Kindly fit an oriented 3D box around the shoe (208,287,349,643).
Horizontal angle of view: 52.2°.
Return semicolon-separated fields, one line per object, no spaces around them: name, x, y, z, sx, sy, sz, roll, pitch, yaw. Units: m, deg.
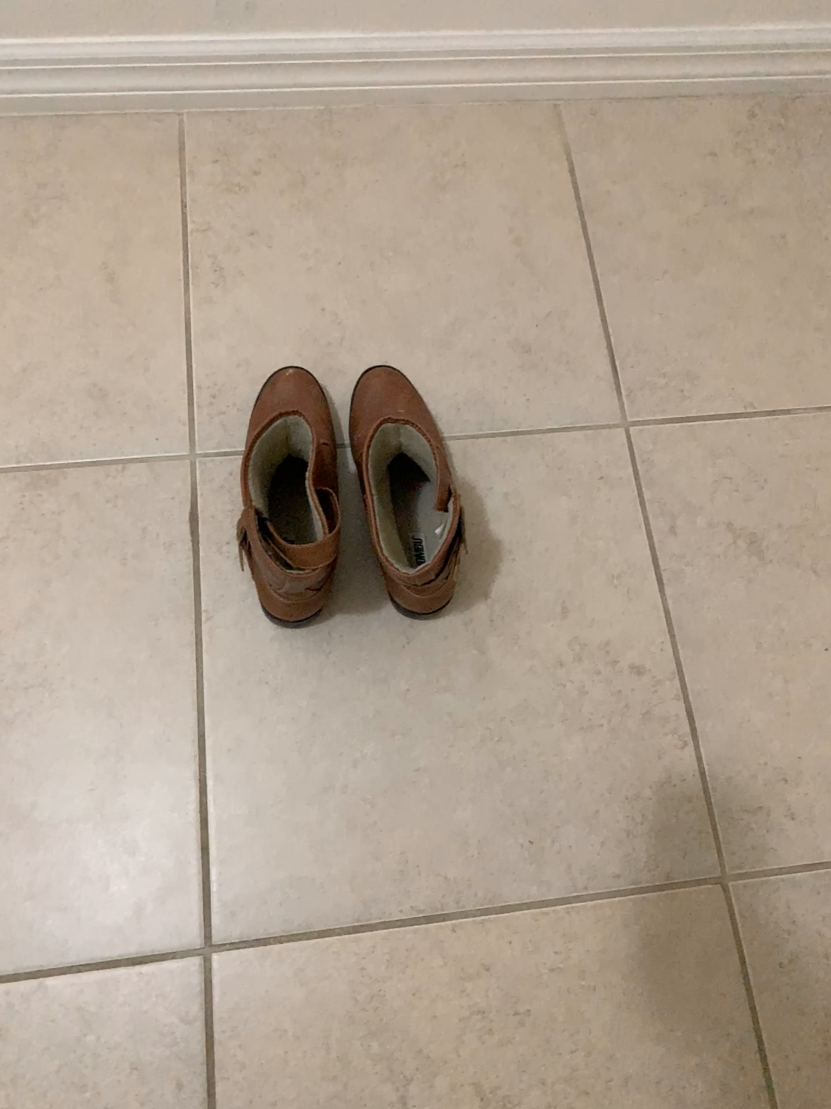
shoe;-0.115;-0.068;0.739;0.094;0.193;0.247;-4;71;-6

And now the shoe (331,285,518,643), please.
shoe;-0.003;-0.074;0.760;0.107;0.173;0.260;-8;72;-7
